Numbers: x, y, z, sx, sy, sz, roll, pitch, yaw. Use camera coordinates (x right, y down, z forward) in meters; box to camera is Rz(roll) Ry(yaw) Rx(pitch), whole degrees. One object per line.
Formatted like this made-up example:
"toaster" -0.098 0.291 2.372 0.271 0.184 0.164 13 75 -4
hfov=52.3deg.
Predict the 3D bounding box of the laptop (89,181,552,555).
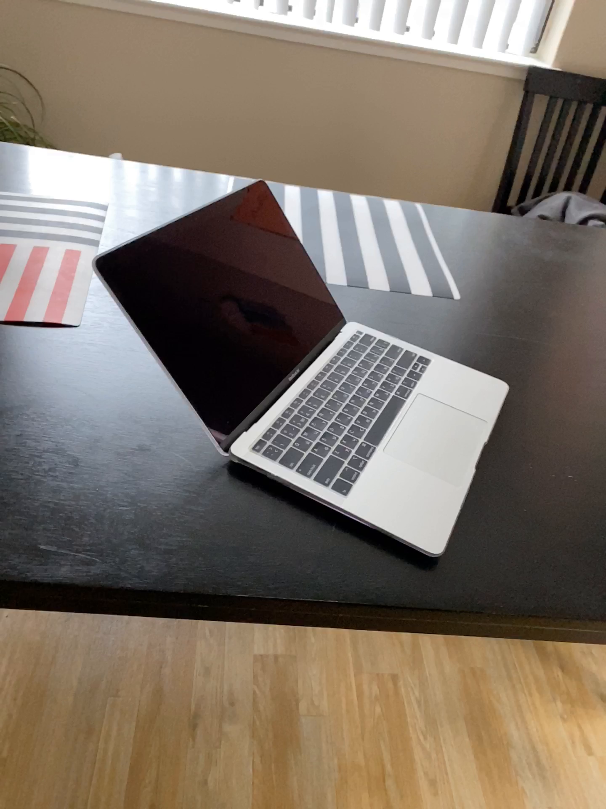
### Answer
"laptop" 0.030 -0.072 0.637 0.361 0.139 0.298 24 40 15
